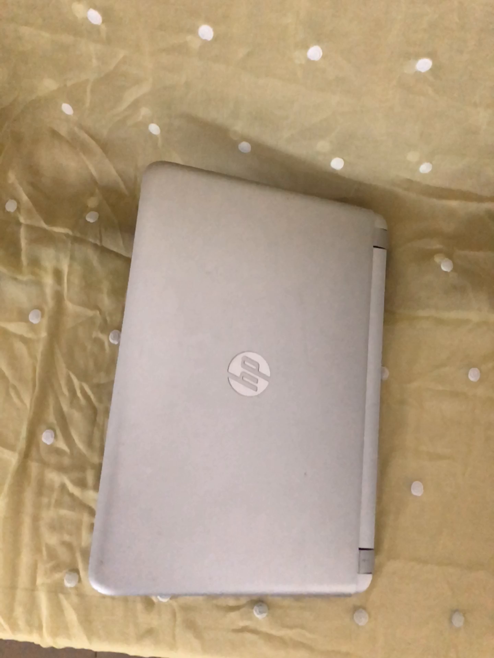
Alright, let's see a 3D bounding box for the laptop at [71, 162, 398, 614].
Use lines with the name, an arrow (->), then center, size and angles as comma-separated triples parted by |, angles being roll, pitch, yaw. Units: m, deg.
laptop -> -0.001, 0.045, 0.501 | 0.243, 0.077, 0.365 | 5, 79, -1
